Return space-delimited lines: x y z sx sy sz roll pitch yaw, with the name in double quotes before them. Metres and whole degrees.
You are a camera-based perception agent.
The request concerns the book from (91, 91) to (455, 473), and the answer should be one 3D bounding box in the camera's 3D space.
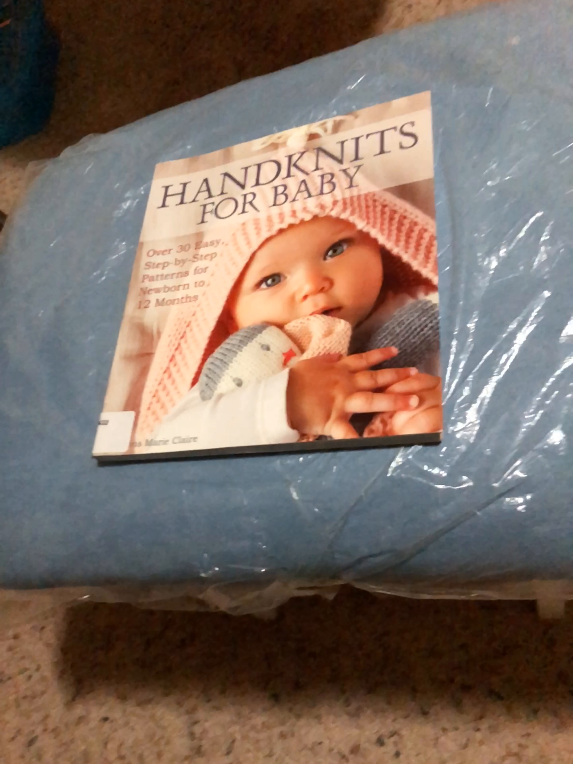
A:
"book" -0.007 -0.060 0.375 0.197 0.020 0.220 -6 63 22
